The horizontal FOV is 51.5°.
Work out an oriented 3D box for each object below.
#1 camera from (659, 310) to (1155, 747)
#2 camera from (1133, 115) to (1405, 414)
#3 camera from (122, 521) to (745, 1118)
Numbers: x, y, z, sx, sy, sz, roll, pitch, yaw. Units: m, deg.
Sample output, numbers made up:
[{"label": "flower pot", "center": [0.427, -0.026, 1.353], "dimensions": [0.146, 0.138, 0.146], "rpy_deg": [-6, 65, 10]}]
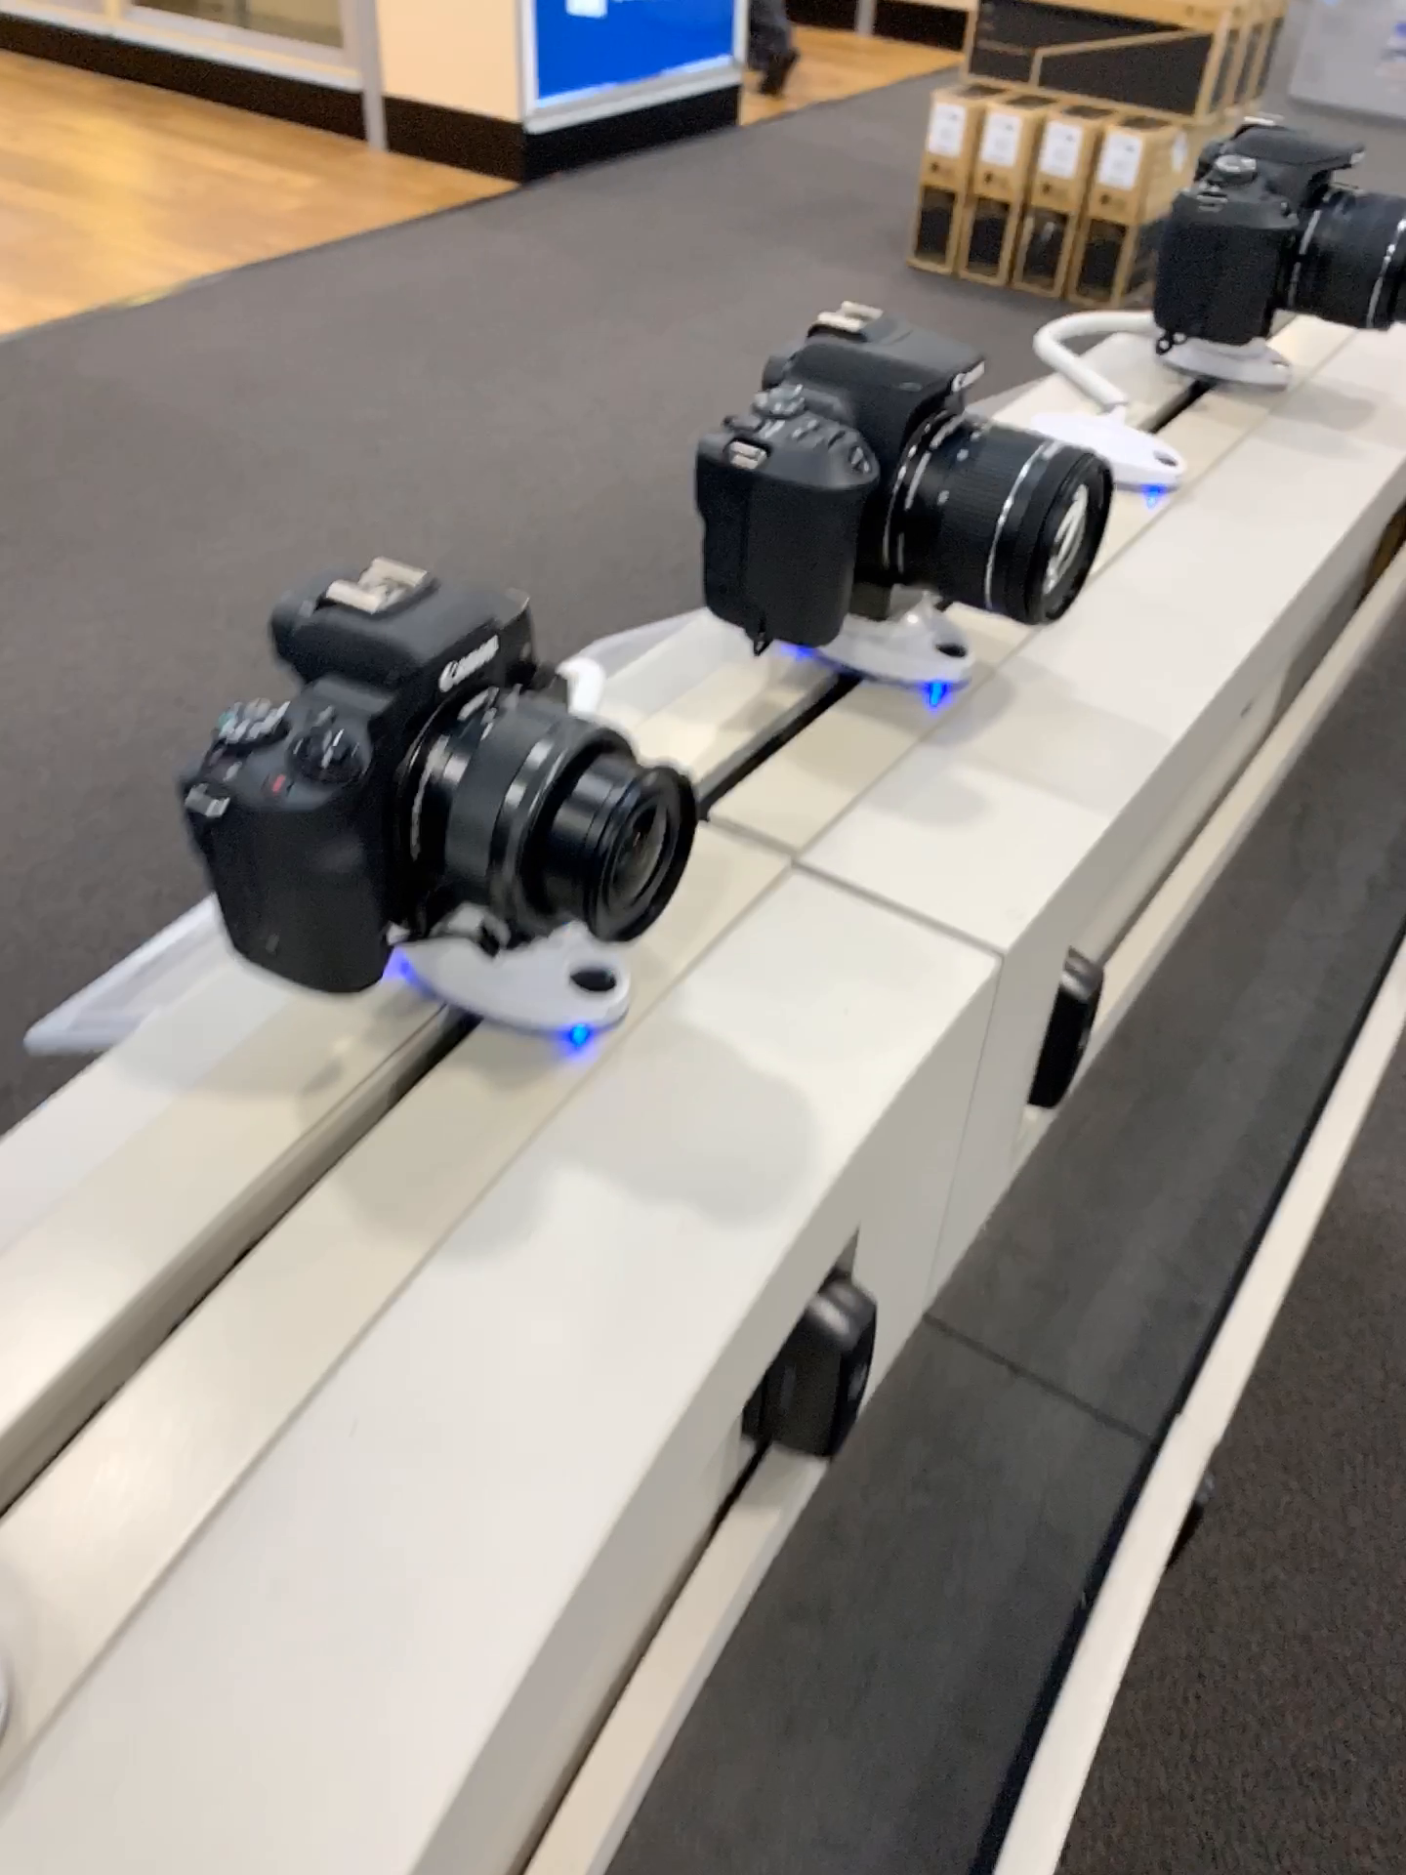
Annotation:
[{"label": "camera", "center": [0.074, -0.158, 0.546], "dimensions": [0.135, 0.089, 0.122], "rpy_deg": [23, 44, 21]}, {"label": "camera", "center": [0.350, -0.385, 0.824], "dimensions": [0.146, 0.101, 0.134], "rpy_deg": [27, 46, 24]}, {"label": "camera", "center": [-0.067, -0.038, 0.399], "dimensions": [0.111, 0.088, 0.112], "rpy_deg": [23, 44, 21]}]
